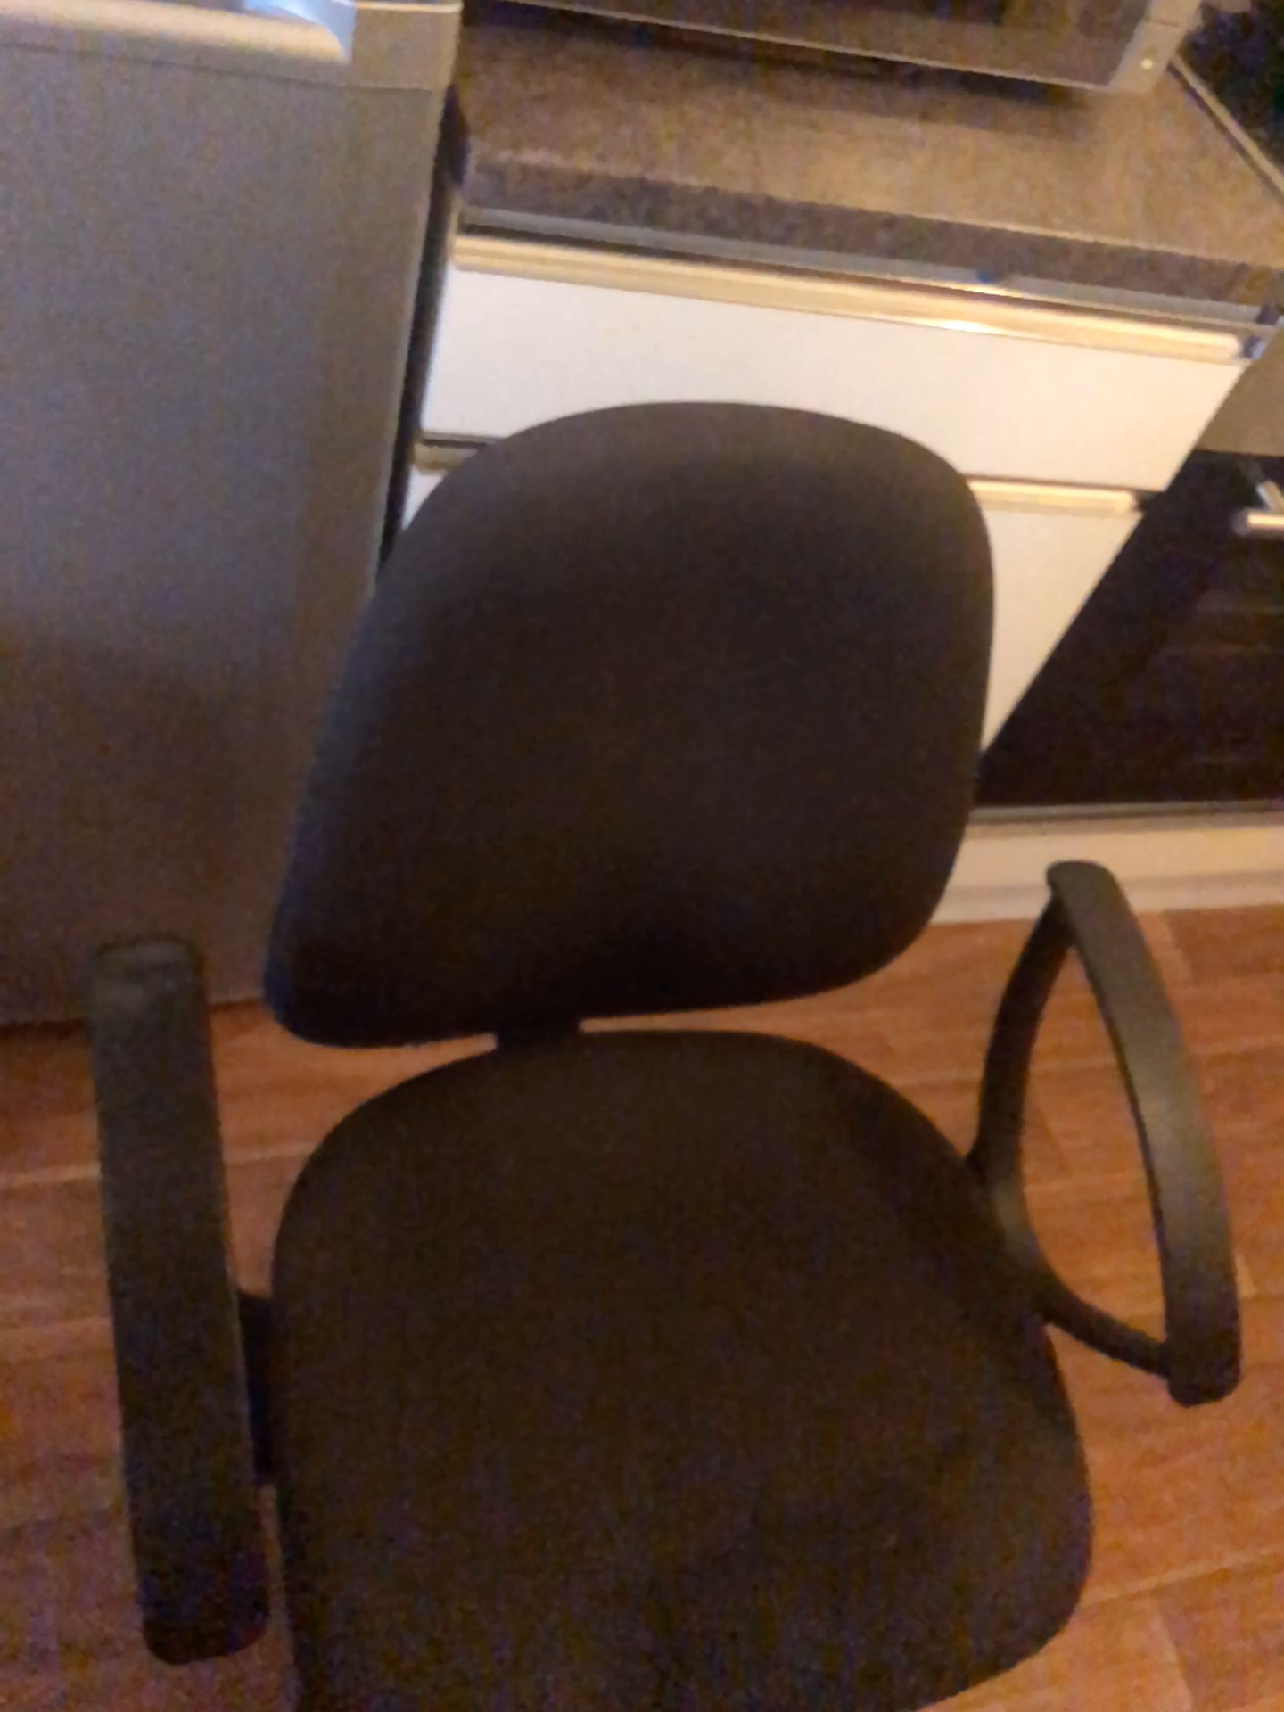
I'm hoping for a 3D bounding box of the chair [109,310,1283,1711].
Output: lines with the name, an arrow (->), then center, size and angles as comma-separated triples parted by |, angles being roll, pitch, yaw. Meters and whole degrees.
chair -> 0.033, 0.263, 0.902 | 0.637, 0.882, 0.644 | -3, 55, -21
